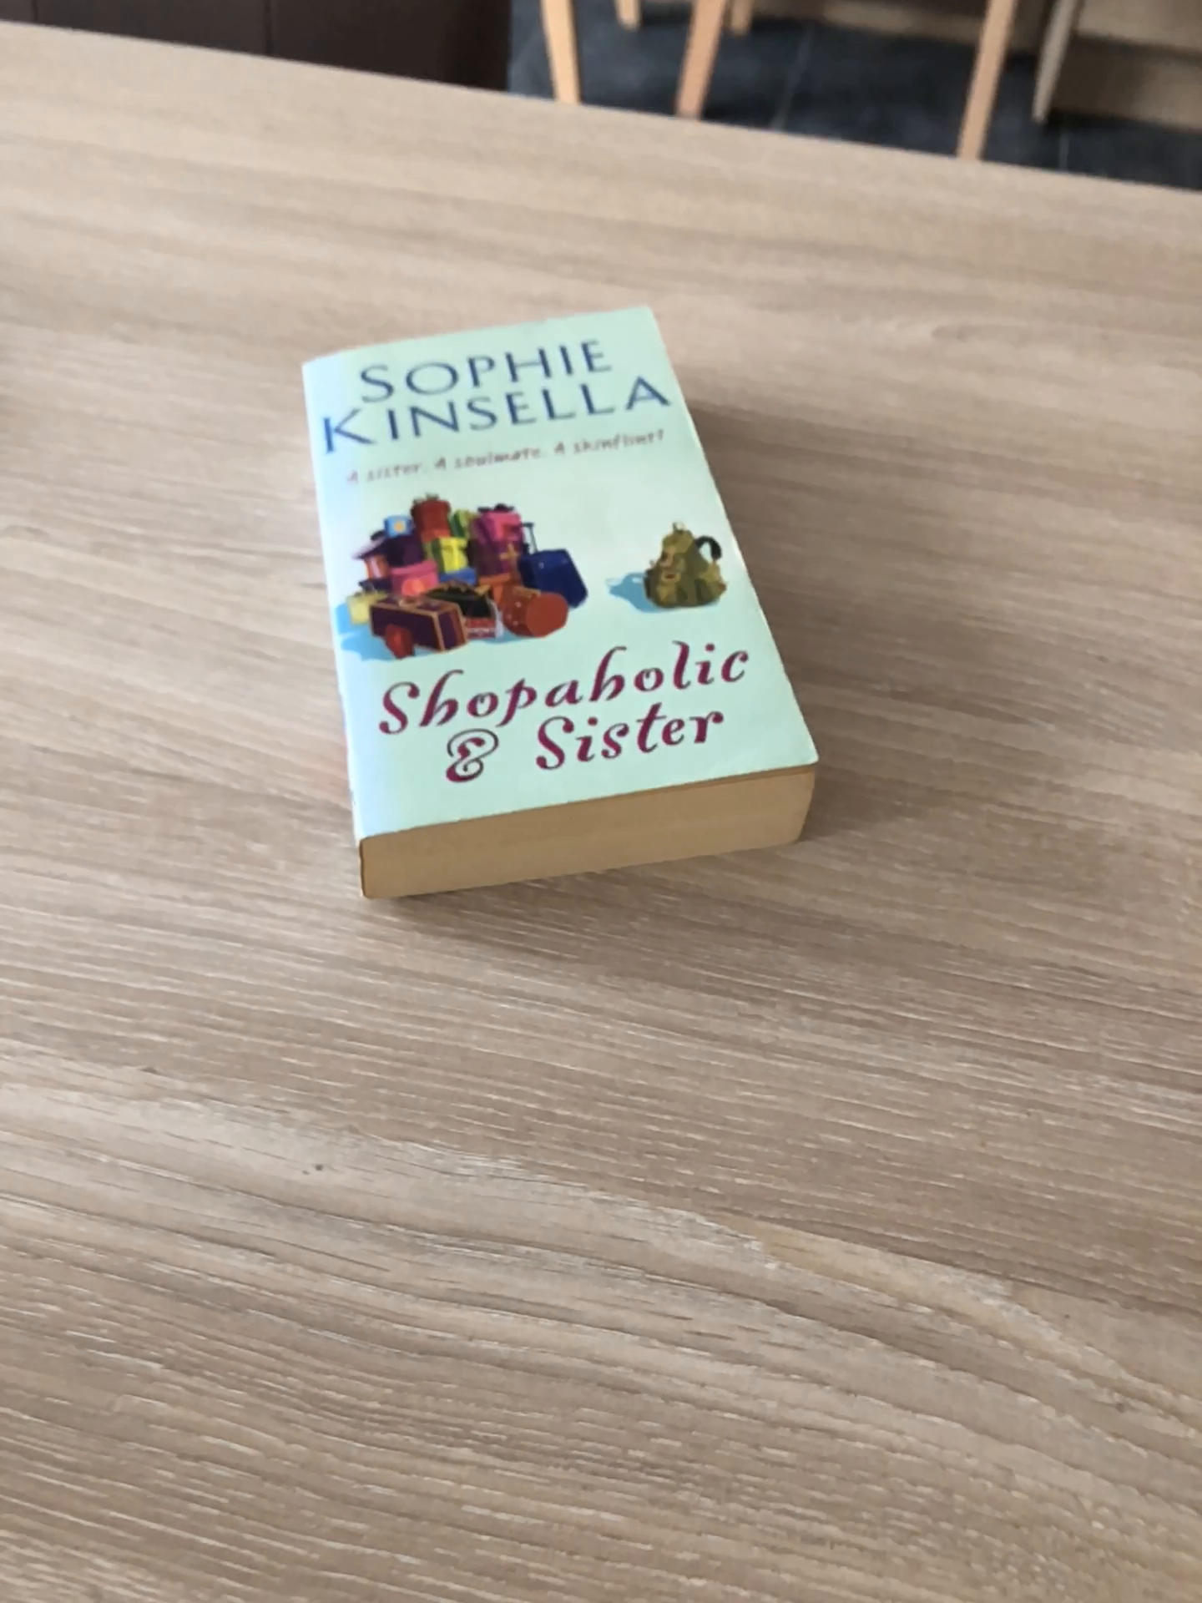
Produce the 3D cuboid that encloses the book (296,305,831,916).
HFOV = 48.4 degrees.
[{"bbox_3d":[-0.019,-0.062,0.356,0.107,0.032,0.181,-9,53,-7],"label":"book"}]
